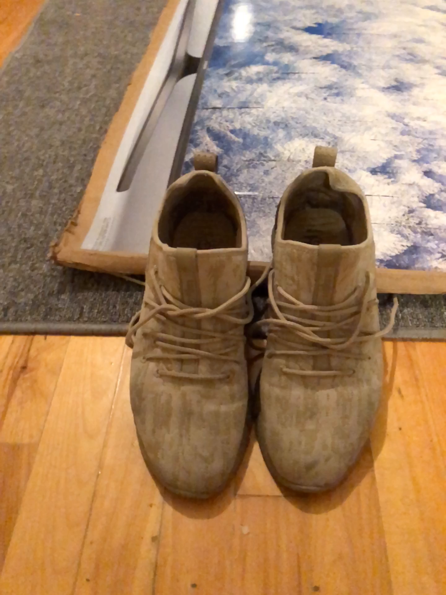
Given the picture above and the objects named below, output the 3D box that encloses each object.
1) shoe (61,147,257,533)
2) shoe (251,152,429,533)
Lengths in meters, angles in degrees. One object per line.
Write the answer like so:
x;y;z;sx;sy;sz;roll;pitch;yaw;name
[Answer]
-0.032;0.028;0.377;0.110;0.120;0.251;1;75;4;shoe
0.088;0.030;0.392;0.110;0.120;0.251;4;78;6;shoe
